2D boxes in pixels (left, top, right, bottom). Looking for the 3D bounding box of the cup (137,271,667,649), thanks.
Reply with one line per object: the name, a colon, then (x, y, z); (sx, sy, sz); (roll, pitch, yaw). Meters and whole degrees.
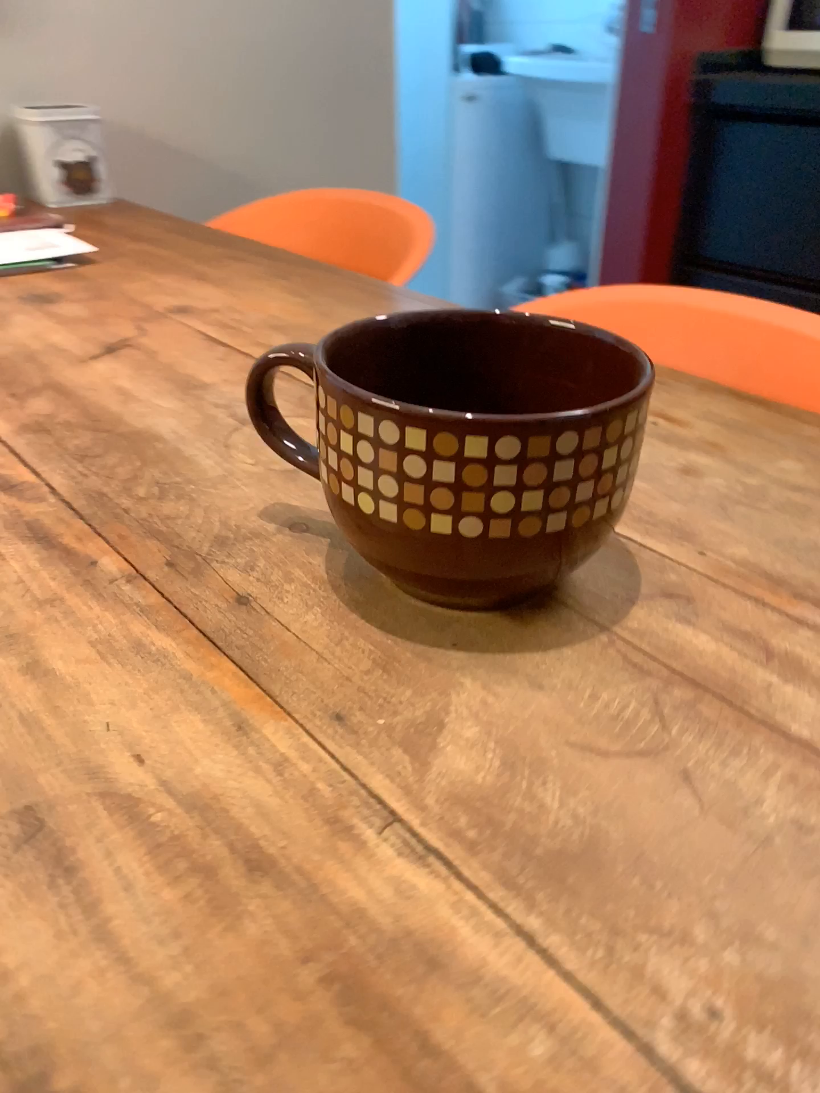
cup: (0.006, -0.052, 0.373); (0.180, 0.089, 0.141); (11, 33, 18)
